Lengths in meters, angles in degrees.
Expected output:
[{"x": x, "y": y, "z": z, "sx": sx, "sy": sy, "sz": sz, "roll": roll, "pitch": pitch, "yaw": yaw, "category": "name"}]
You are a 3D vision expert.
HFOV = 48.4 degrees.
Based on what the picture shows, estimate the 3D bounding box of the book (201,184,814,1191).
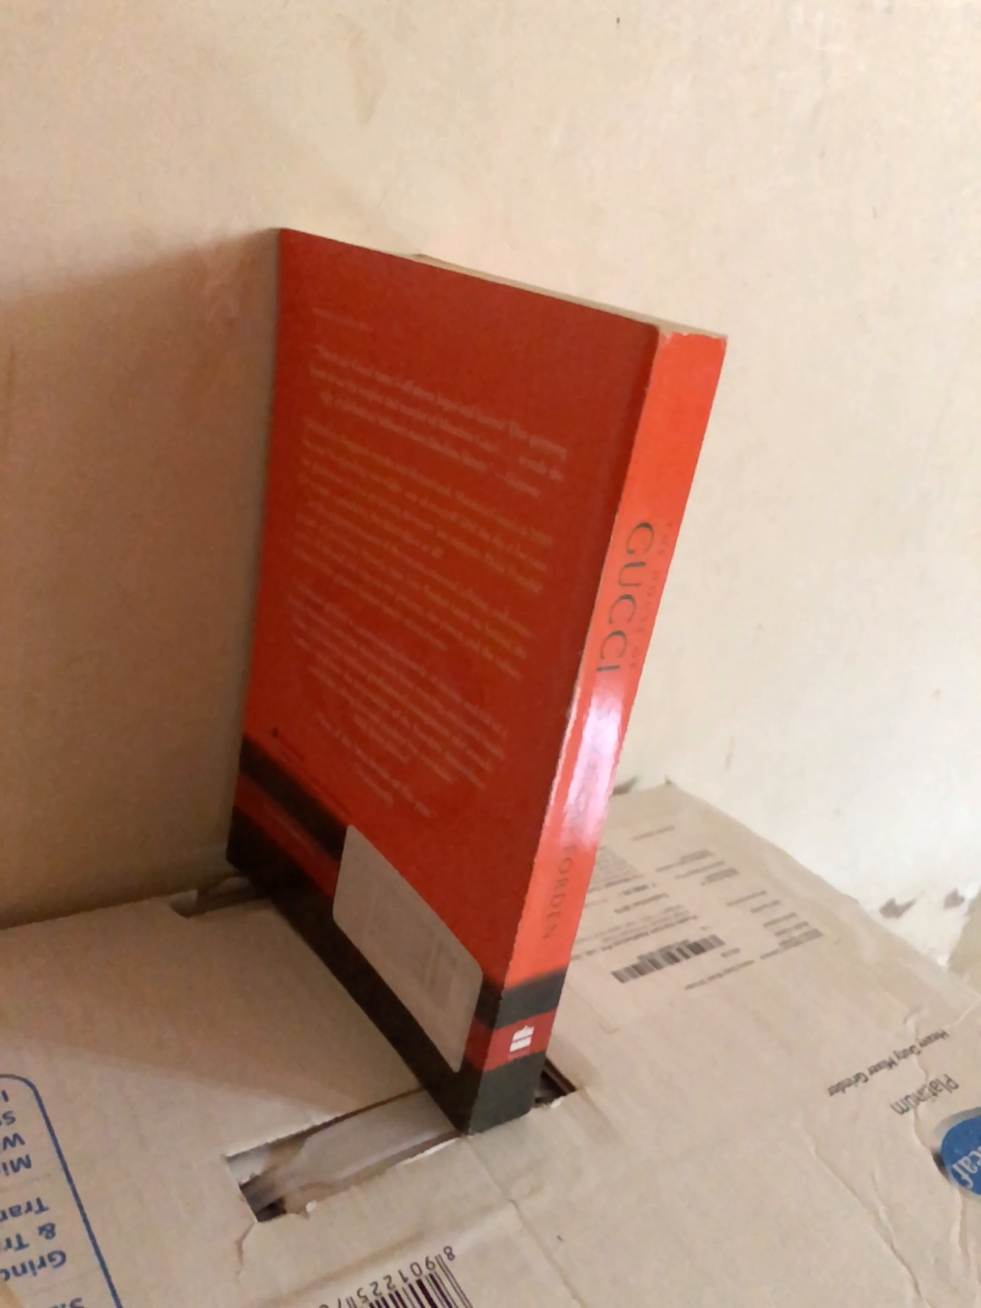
[{"x": -0.023, "y": -0.004, "z": 0.328, "sx": 0.040, "sy": 0.229, "sz": 0.191, "roll": -3, "pitch": 27, "yaw": -34, "category": "book"}]
